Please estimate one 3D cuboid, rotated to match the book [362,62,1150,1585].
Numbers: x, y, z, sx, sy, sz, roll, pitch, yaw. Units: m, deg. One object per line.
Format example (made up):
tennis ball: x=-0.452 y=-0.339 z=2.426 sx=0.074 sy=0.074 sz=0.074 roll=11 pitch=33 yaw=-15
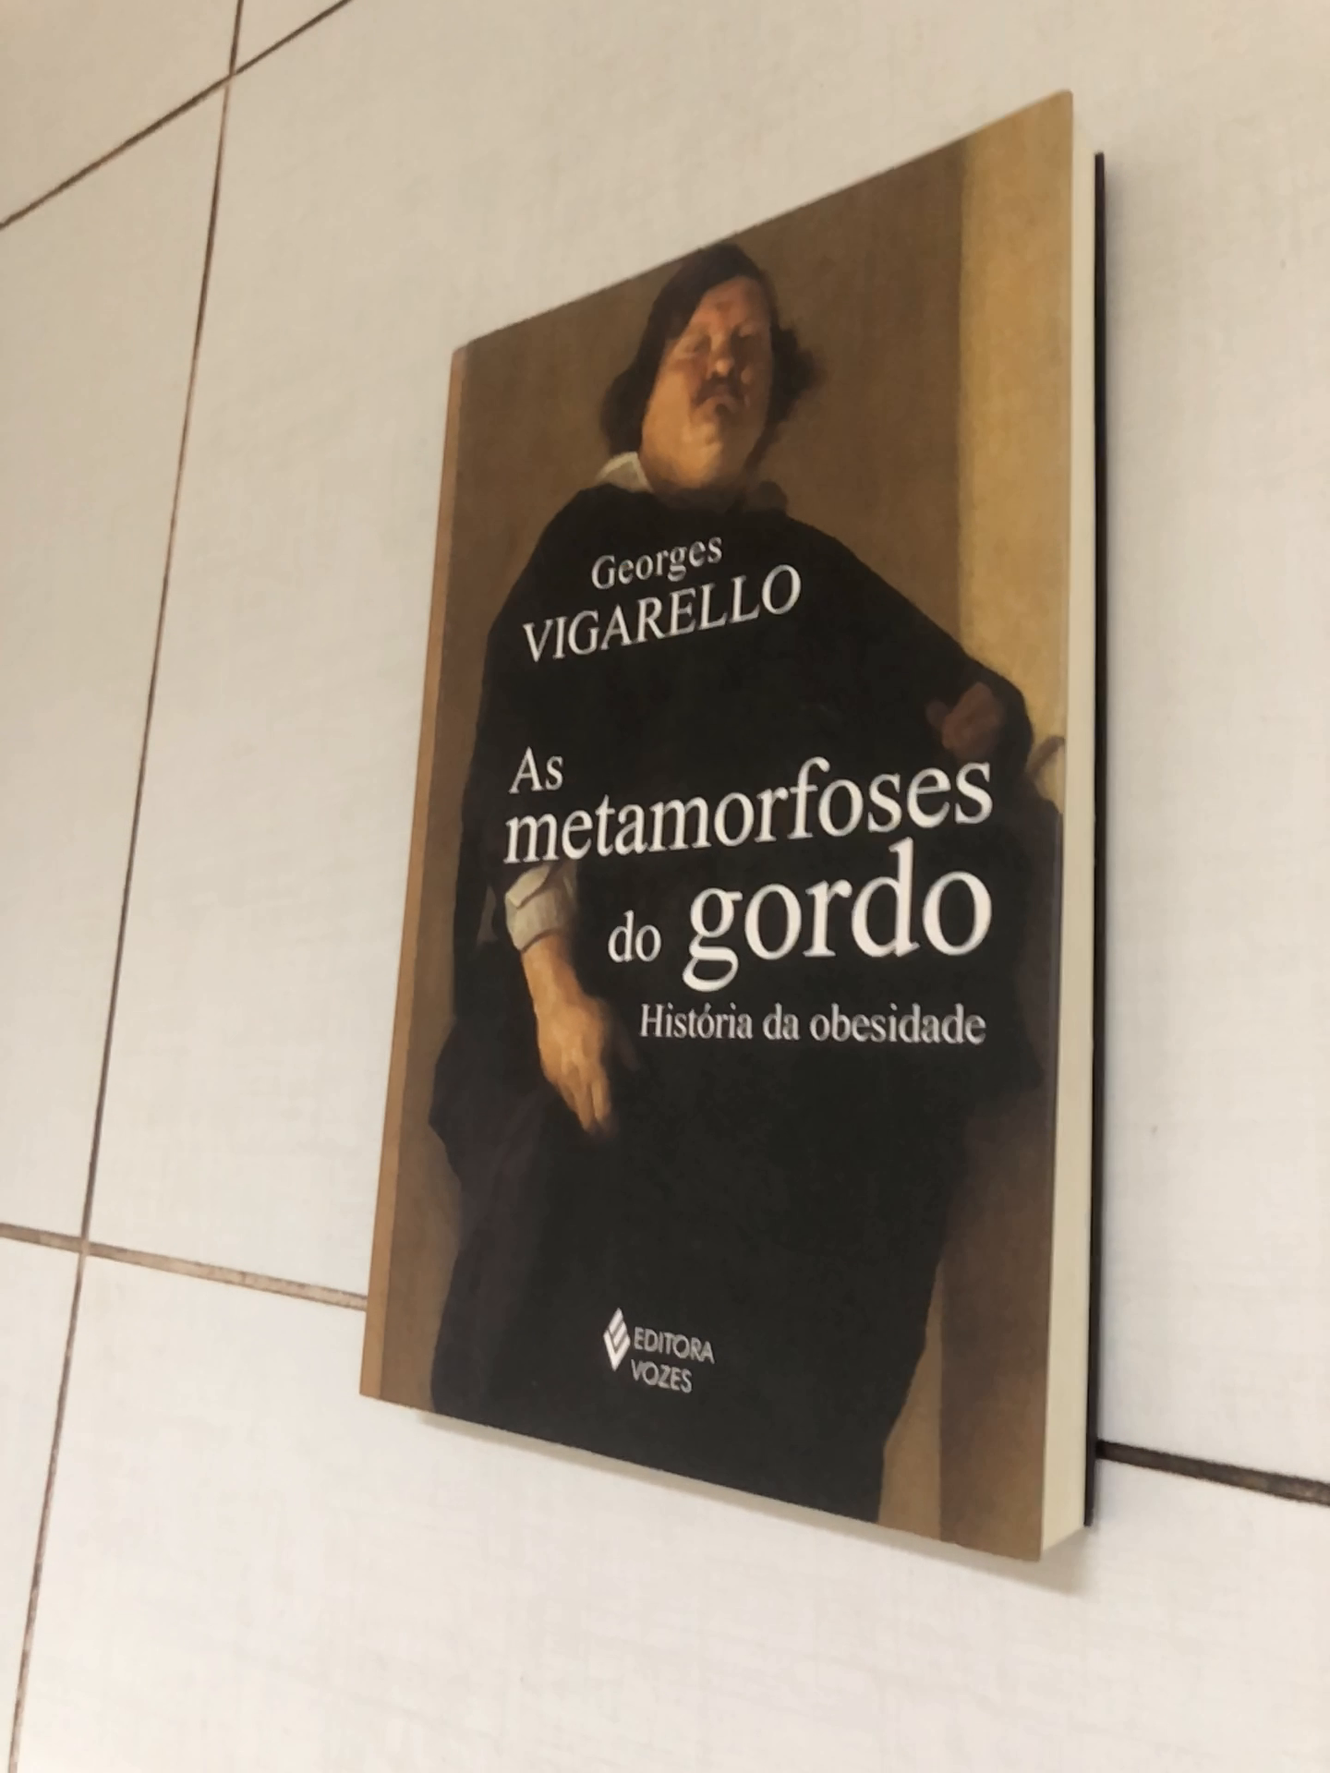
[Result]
book: x=0.010 y=-0.010 z=0.248 sx=0.137 sy=0.023 sz=0.204 roll=-5 pitch=78 yaw=40
